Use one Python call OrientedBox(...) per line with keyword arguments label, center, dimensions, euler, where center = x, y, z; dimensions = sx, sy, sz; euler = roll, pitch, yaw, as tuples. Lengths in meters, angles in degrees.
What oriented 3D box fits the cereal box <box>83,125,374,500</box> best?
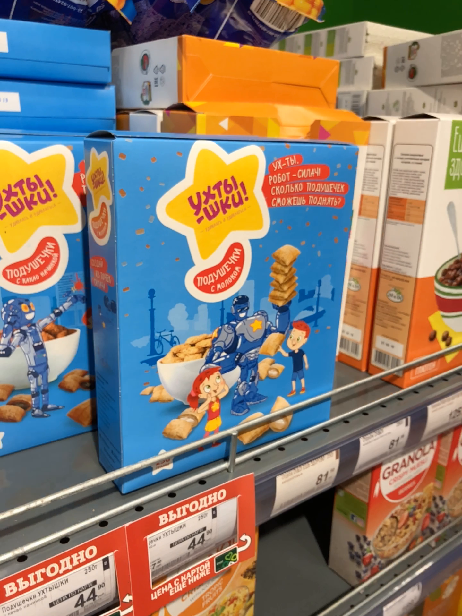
OrientedBox(label="cereal box", center=(0.004, -0.006, 0.383), dimensions=(0.200, 0.239, 0.050), euler=(-10, 22, -32))
